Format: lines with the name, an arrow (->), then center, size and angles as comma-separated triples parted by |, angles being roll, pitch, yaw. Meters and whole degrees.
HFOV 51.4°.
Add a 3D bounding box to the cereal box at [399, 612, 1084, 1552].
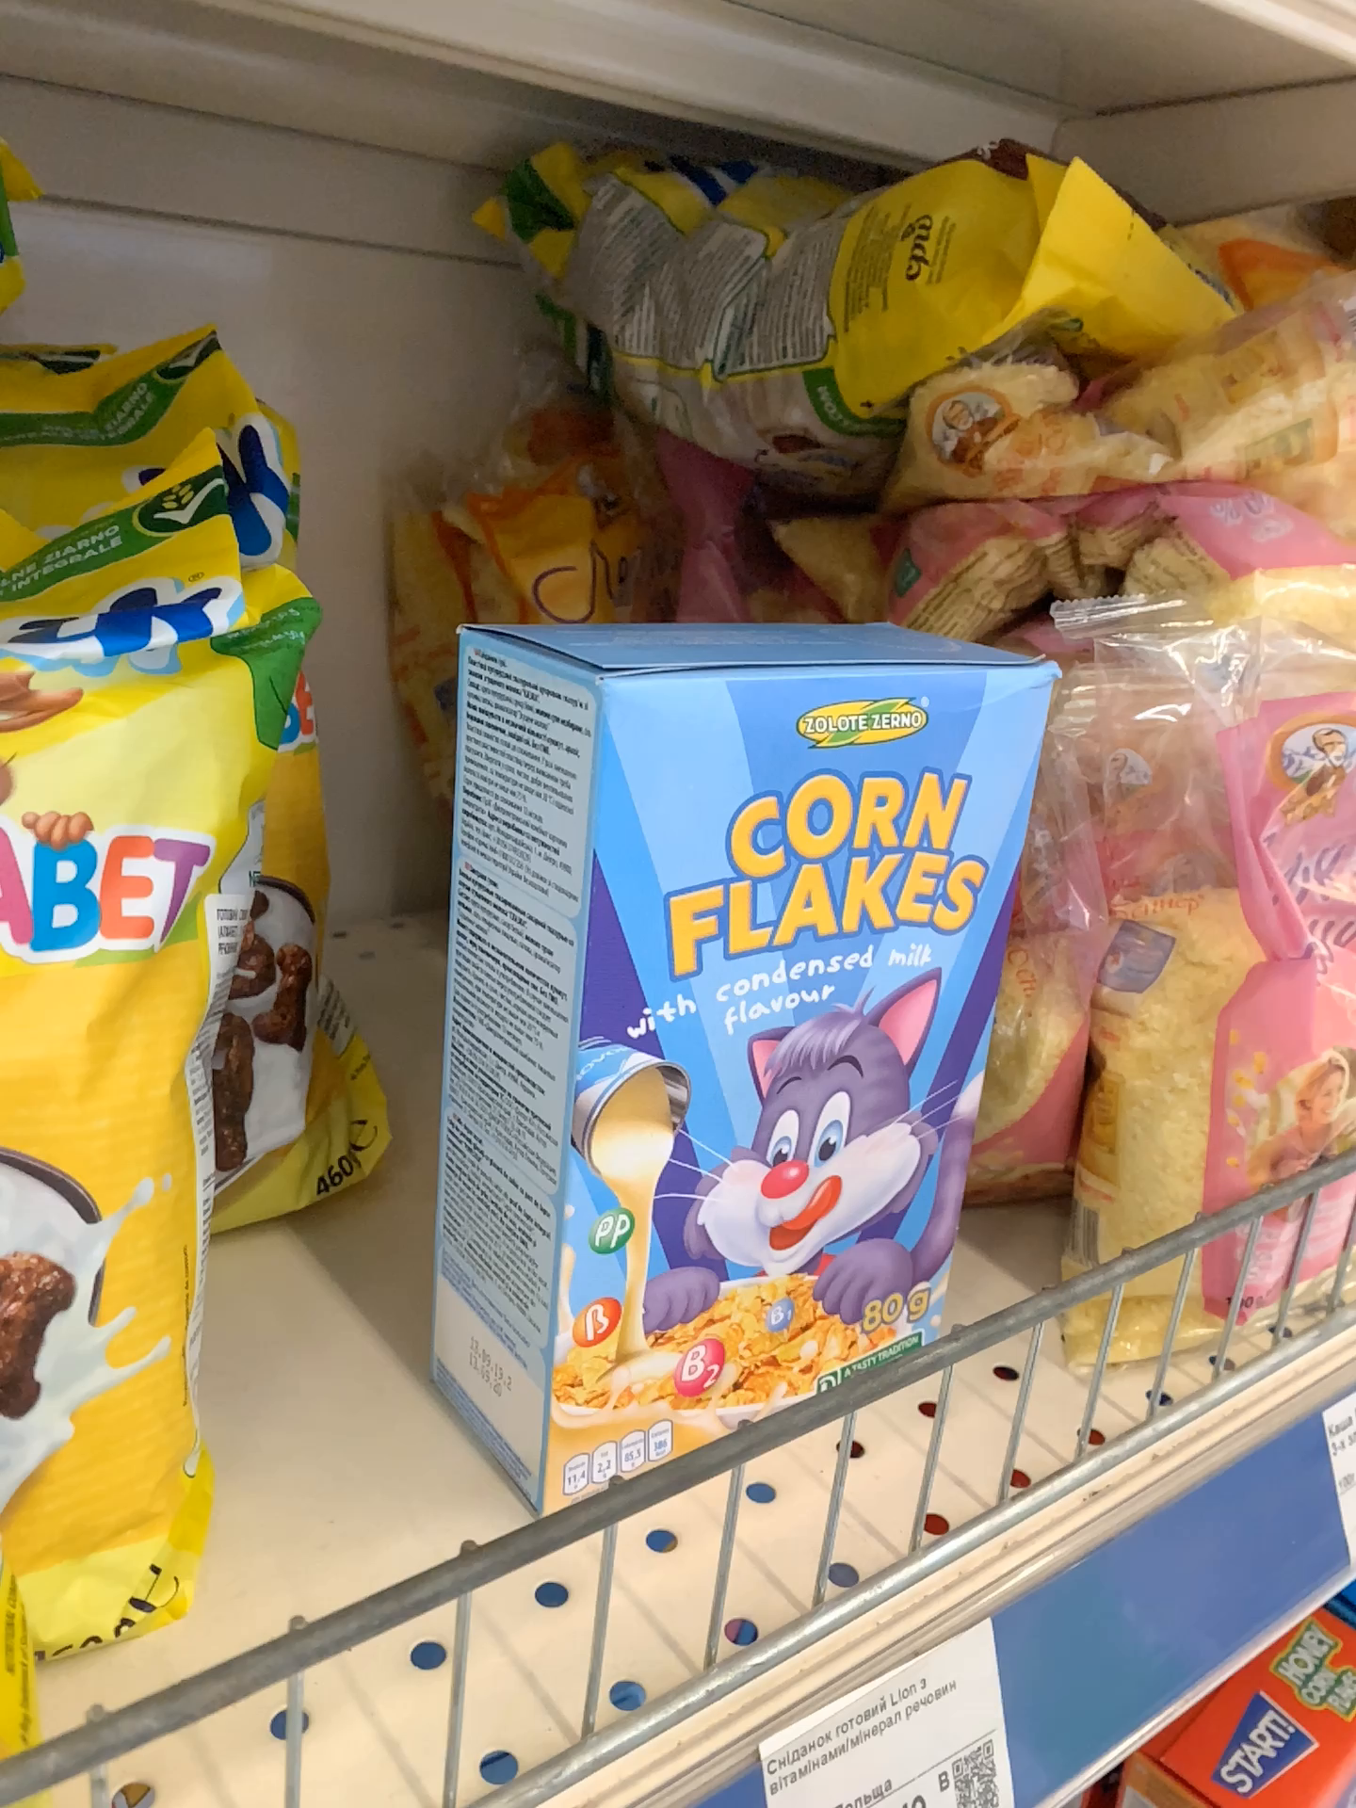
cereal box -> 0.011, 0.026, 0.285 | 0.120, 0.159, 0.050 | -9, 22, -36
